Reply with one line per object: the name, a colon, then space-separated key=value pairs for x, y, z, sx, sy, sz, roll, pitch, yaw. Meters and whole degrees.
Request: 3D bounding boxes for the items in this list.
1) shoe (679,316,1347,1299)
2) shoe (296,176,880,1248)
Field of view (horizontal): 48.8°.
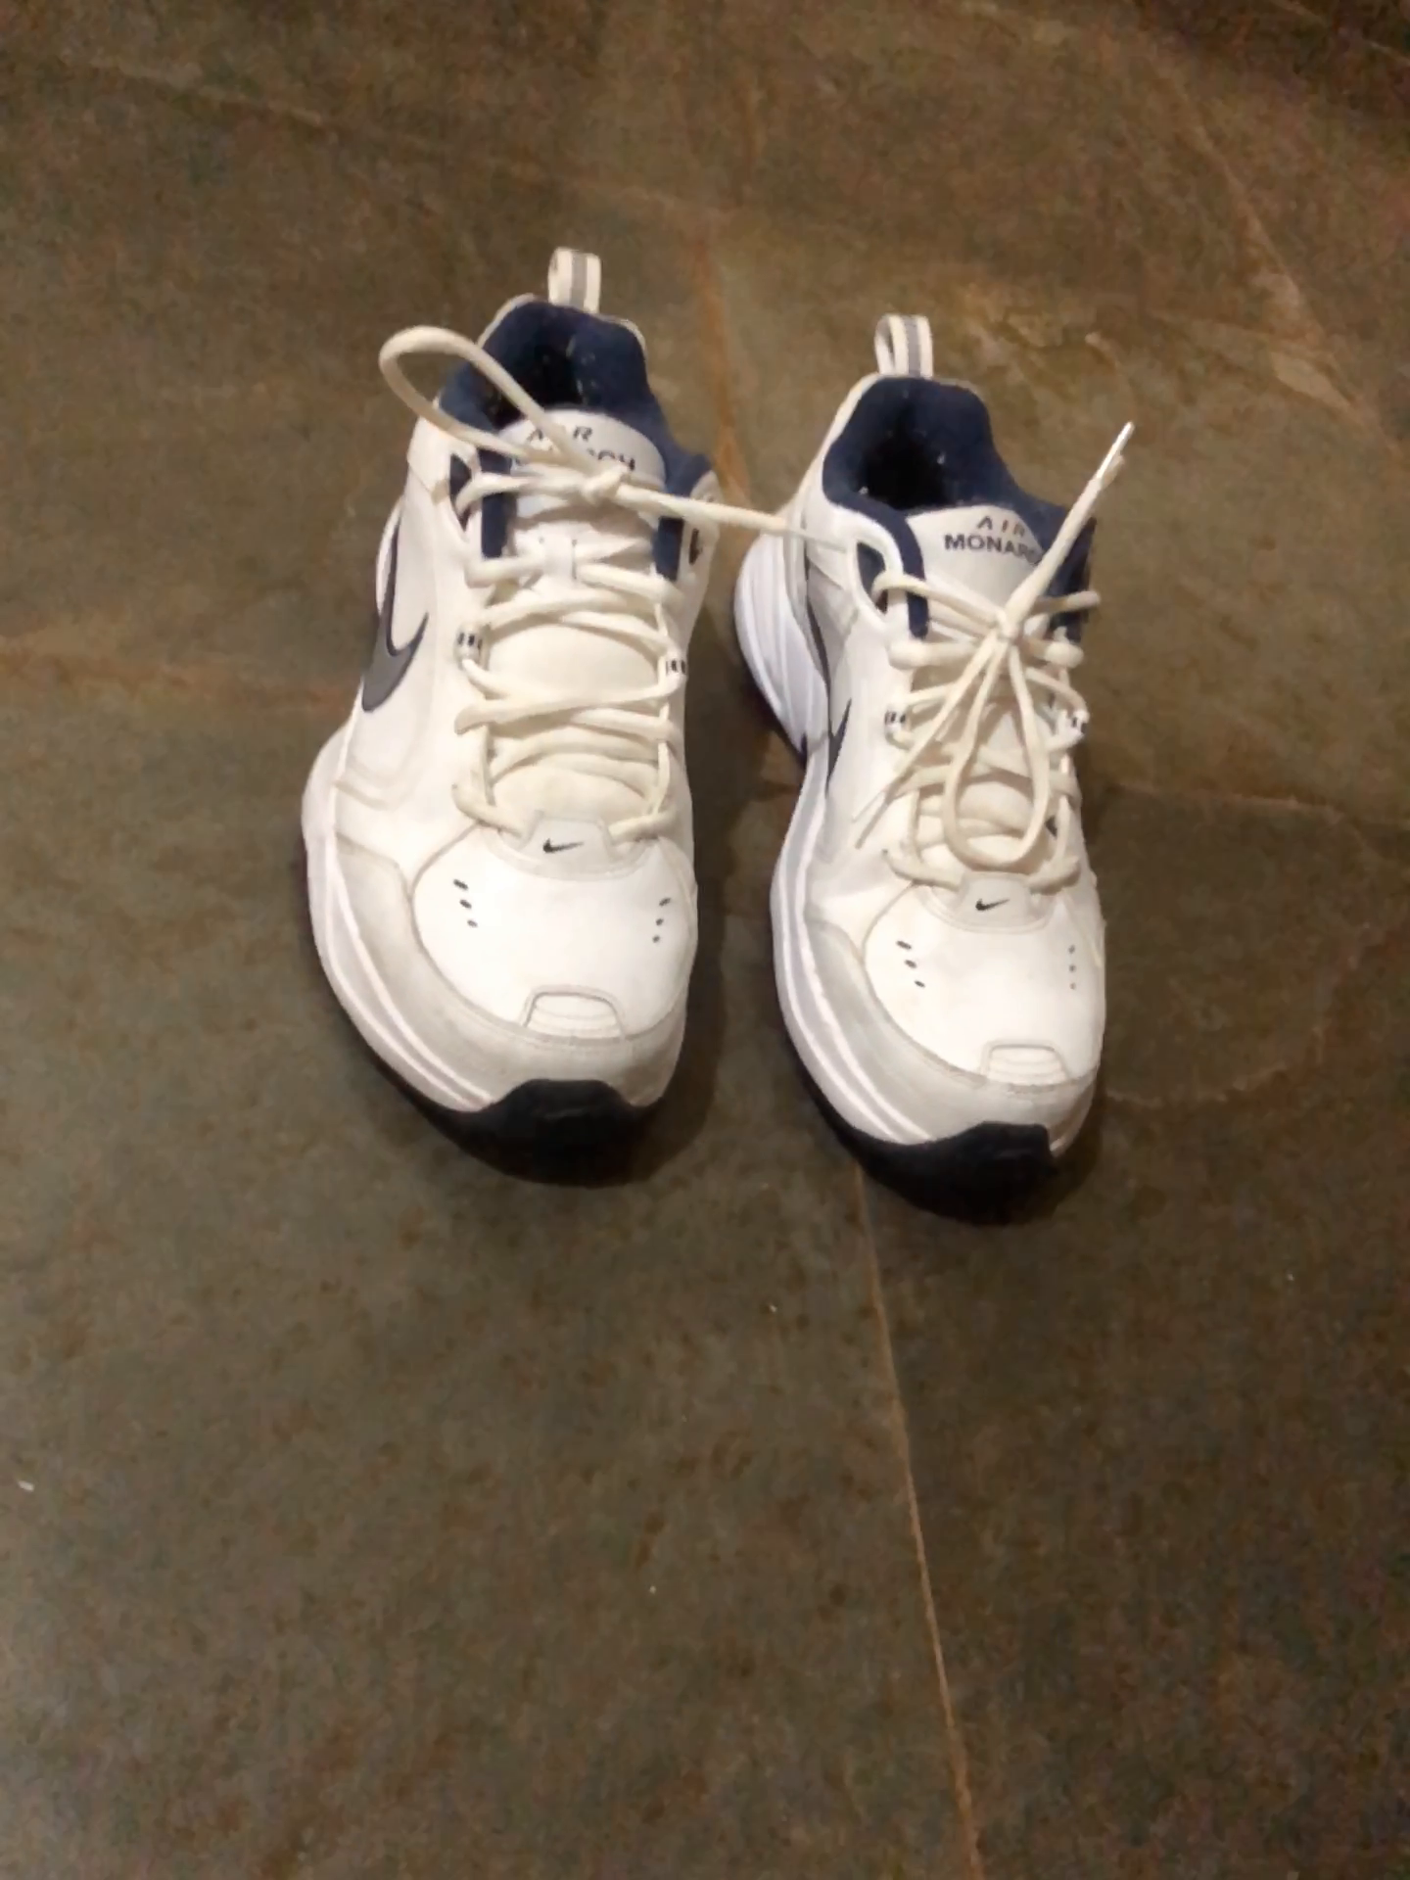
shoe: x=0.079 y=-0.051 z=0.537 sx=0.120 sy=0.149 sz=0.302 roll=6 pitch=53 yaw=-16
shoe: x=-0.055 y=-0.076 z=0.488 sx=0.120 sy=0.149 sz=0.302 roll=5 pitch=53 yaw=-17
